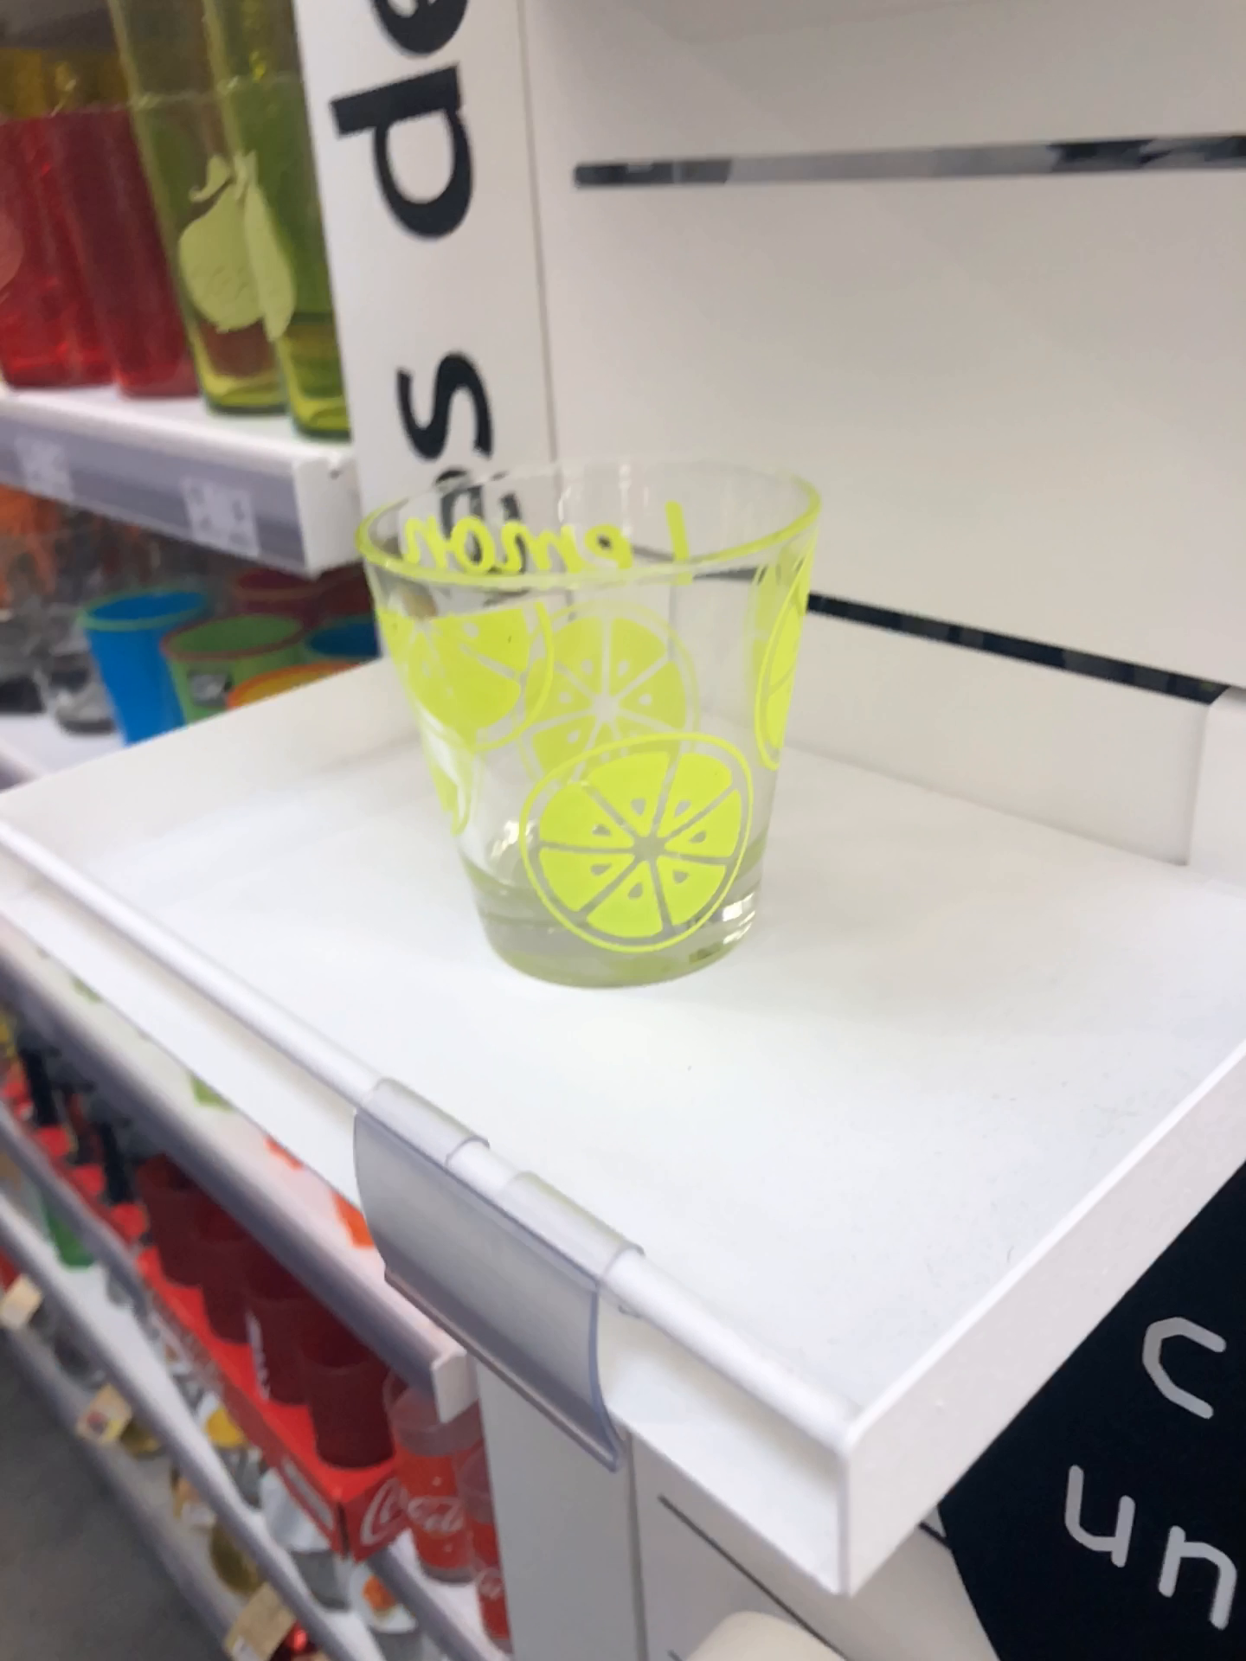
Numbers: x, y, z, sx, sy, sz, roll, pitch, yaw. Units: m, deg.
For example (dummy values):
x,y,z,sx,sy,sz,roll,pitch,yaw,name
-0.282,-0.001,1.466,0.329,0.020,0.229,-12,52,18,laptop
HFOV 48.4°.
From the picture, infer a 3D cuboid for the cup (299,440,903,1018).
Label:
x,y,z,sx,sy,sz,roll,pitch,yaw,name
0.002,-0.026,0.260,0.080,0.075,0.084,-3,26,1,cup
